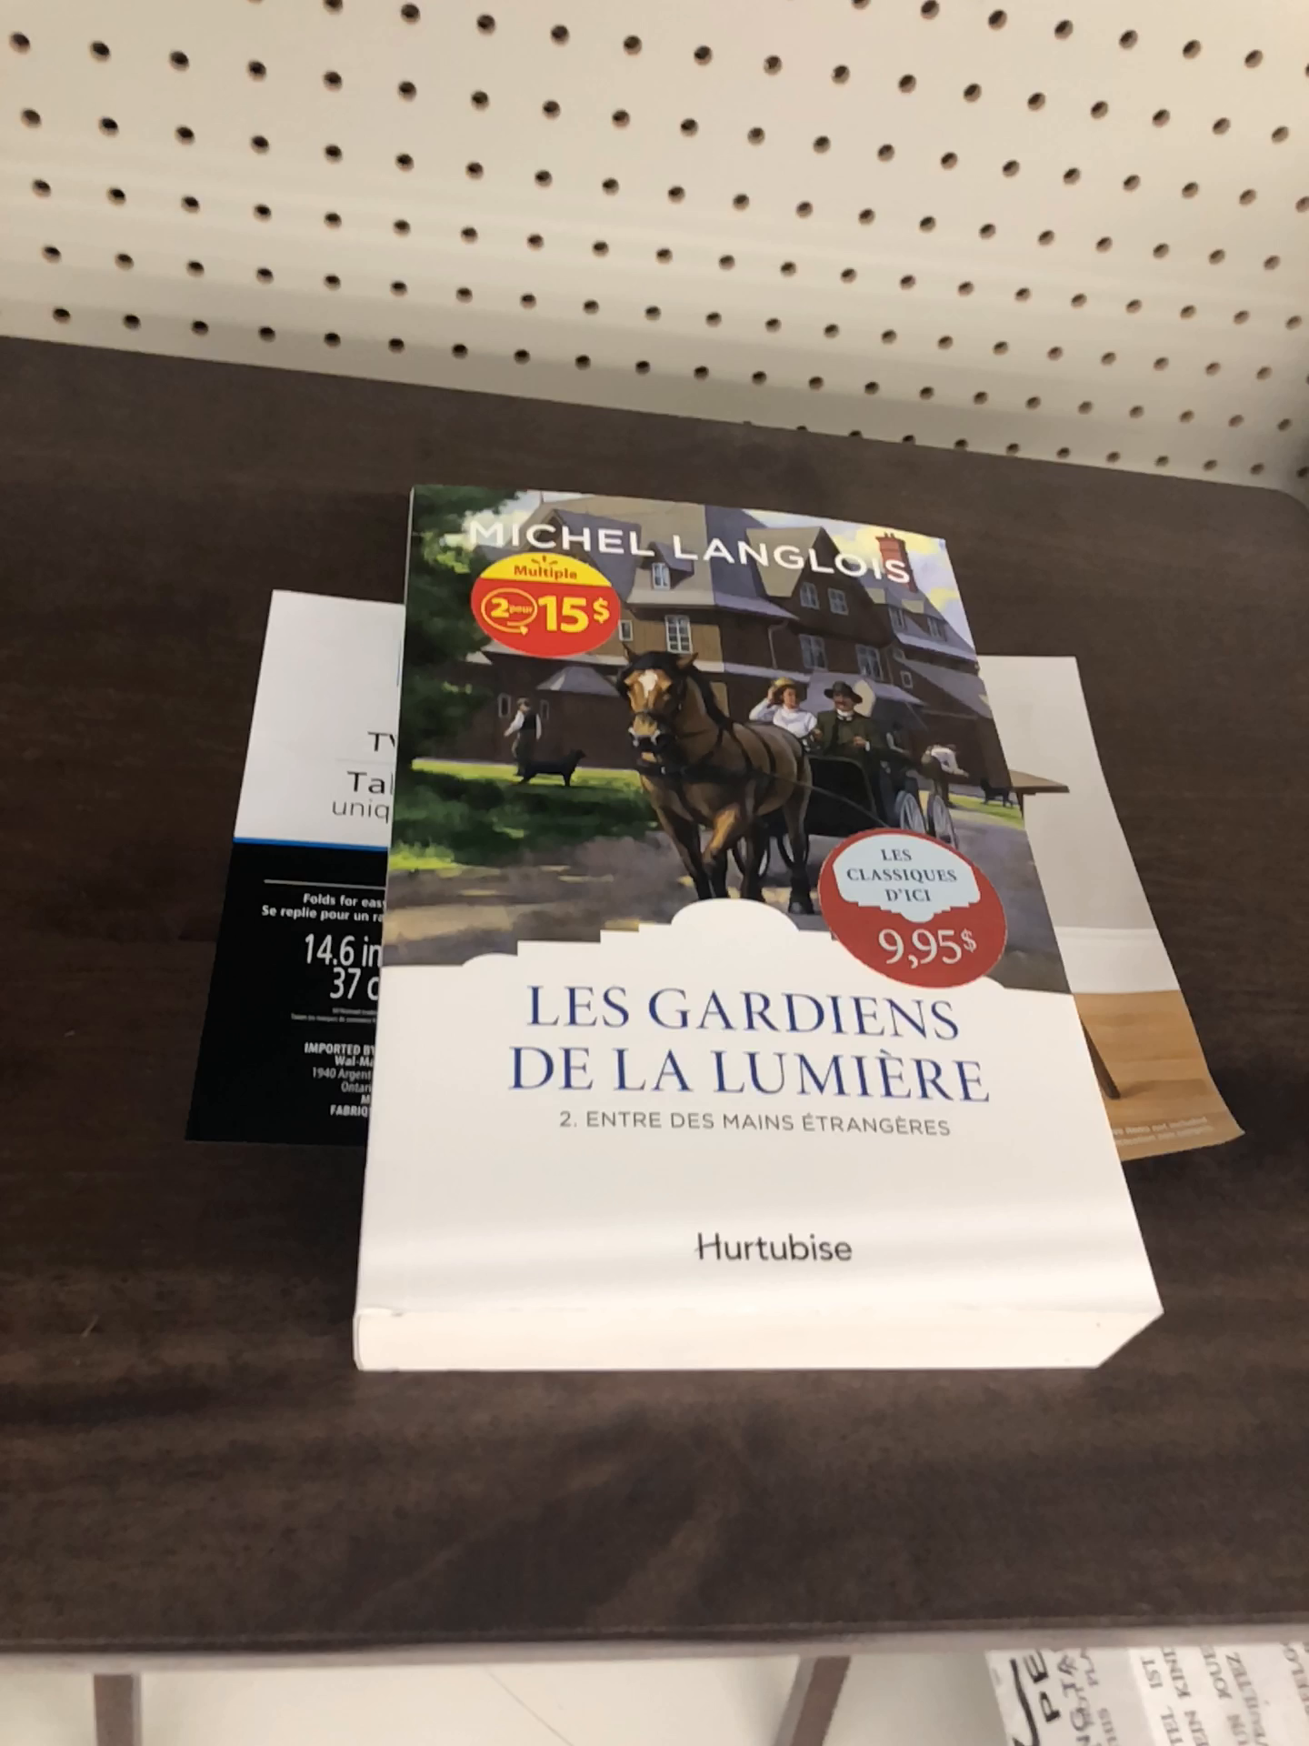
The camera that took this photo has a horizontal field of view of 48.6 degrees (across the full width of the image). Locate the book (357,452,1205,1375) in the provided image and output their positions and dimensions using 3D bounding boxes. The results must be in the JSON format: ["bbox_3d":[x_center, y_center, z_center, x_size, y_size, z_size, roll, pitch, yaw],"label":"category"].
[{"bbox_3d":[0.017,-0.004,0.349,0.158,0.039,0.235,4,52,-10],"label":"book"}]
